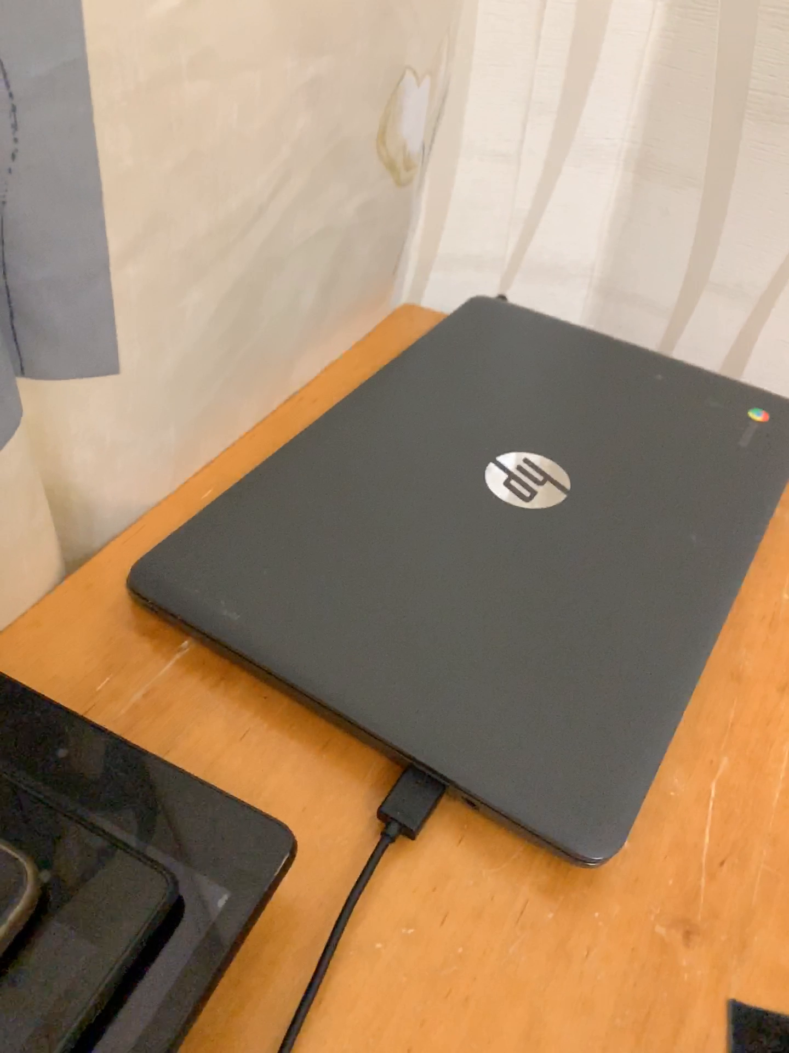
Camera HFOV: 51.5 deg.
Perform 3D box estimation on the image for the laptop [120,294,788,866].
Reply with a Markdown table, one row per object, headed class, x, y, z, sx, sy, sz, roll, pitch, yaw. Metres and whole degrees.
| class | x | y | z | sx | sy | sz | roll | pitch | yaw |
| --- | --- | --- | --- | --- | --- | --- | --- | --- | --- |
| laptop | 0.054 | -0.019 | 0.363 | 0.194 | 0.002 | 0.283 | 26 | 48 | 21 |
